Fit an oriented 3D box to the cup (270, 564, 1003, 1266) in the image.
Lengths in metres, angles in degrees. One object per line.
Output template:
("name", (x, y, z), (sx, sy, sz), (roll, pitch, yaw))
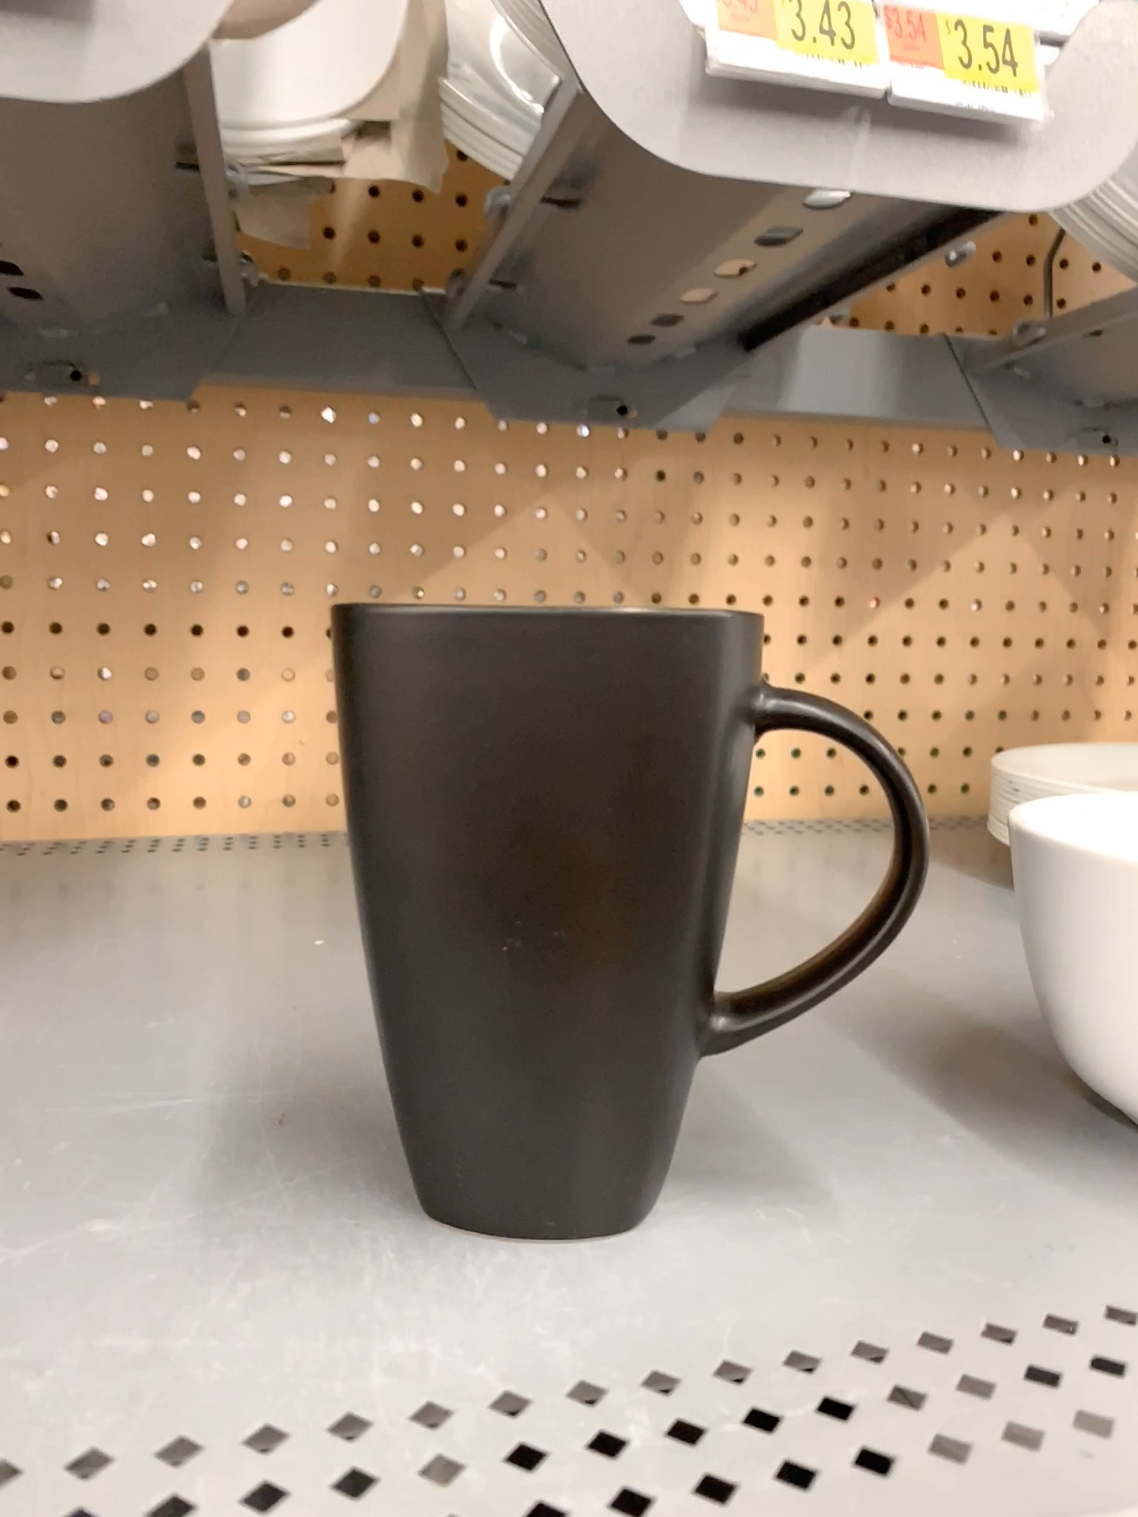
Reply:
("cup", (0.010, 0.026, 0.260), (0.130, 0.130, 0.090), (1, 6, -2))
